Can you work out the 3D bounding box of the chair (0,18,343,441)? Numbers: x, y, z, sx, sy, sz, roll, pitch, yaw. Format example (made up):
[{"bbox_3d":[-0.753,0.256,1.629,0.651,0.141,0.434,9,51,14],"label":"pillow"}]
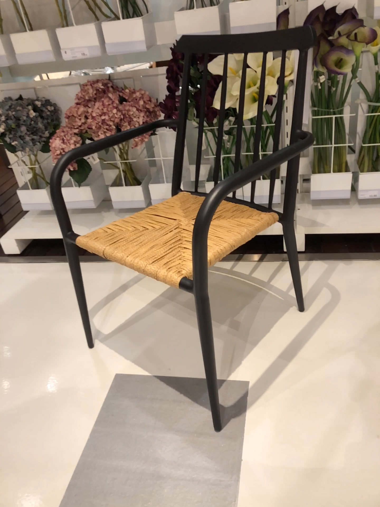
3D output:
[{"bbox_3d":[-0.014,-0.110,1.075,0.542,0.754,0.582,20,42,38],"label":"chair"}]
